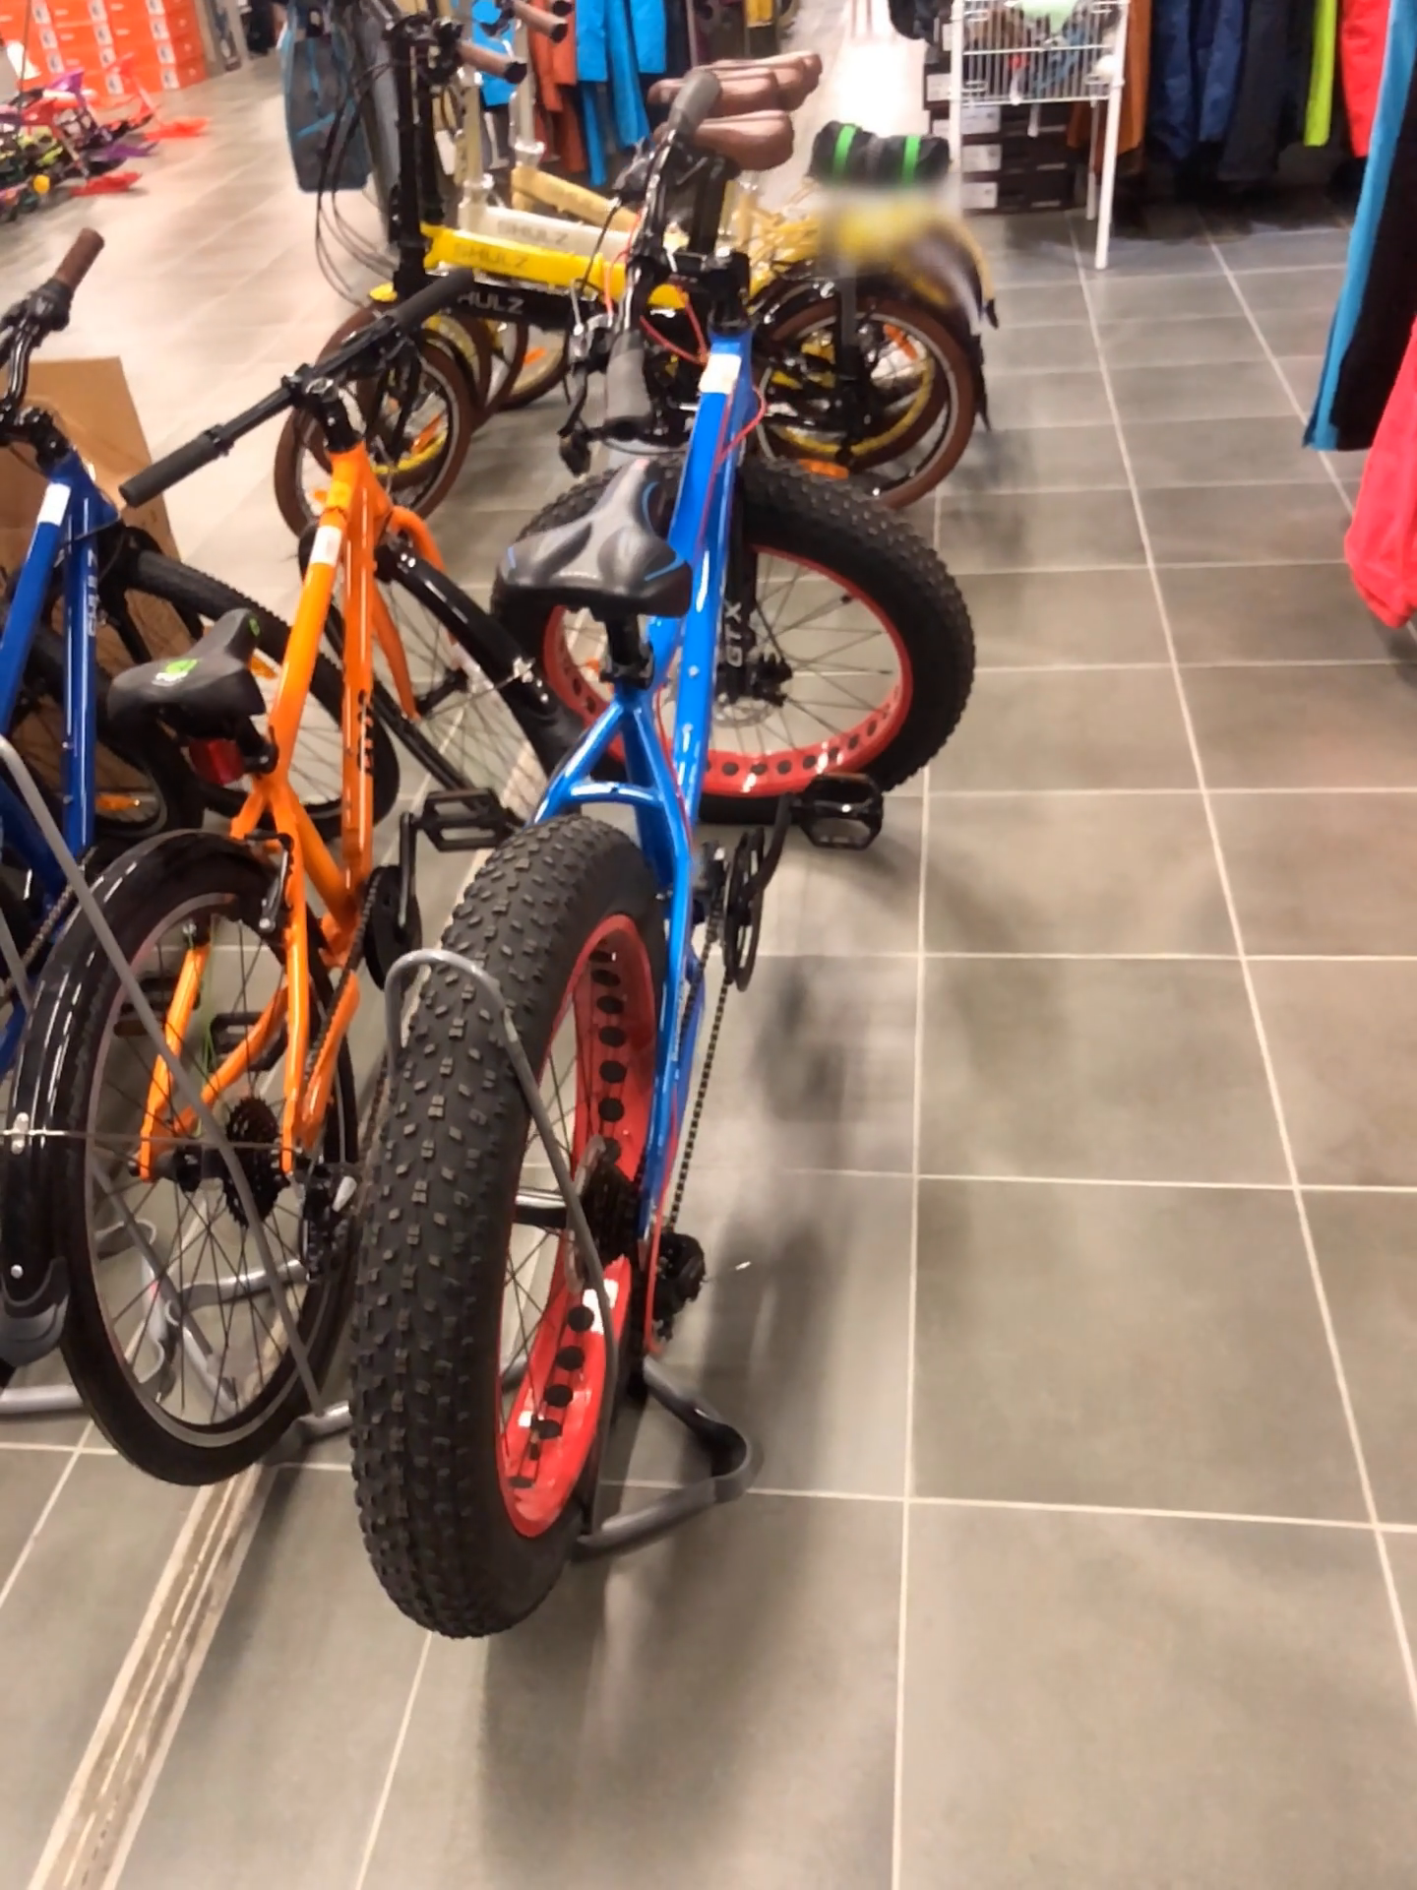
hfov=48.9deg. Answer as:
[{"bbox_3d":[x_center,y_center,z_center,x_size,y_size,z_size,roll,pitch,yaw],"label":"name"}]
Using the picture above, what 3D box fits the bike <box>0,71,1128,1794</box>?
[{"bbox_3d":[-0.005,-0.168,1.550,0.614,1.023,1.475,0,35,8],"label":"bike"}]
